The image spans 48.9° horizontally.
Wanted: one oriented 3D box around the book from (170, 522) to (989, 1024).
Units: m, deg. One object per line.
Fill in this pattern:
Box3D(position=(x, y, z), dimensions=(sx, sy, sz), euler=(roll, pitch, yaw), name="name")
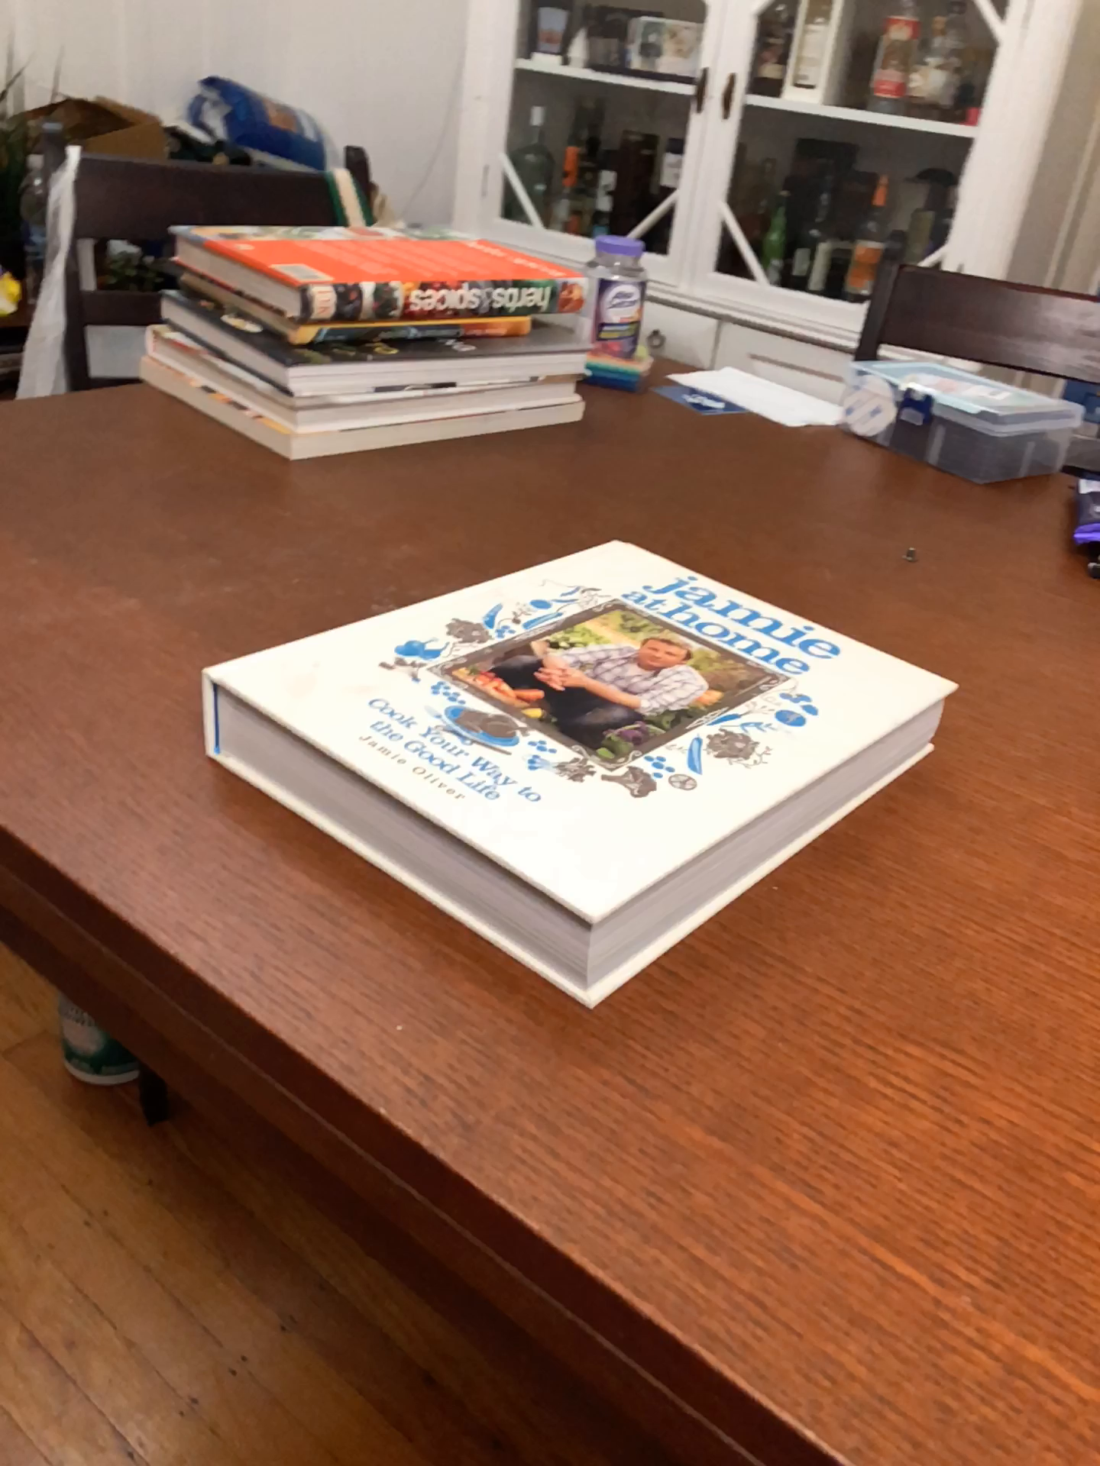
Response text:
Box3D(position=(0.021, -0.012, 0.491), dimensions=(0.210, 0.040, 0.261), euler=(28, 35, 33), name="book")
